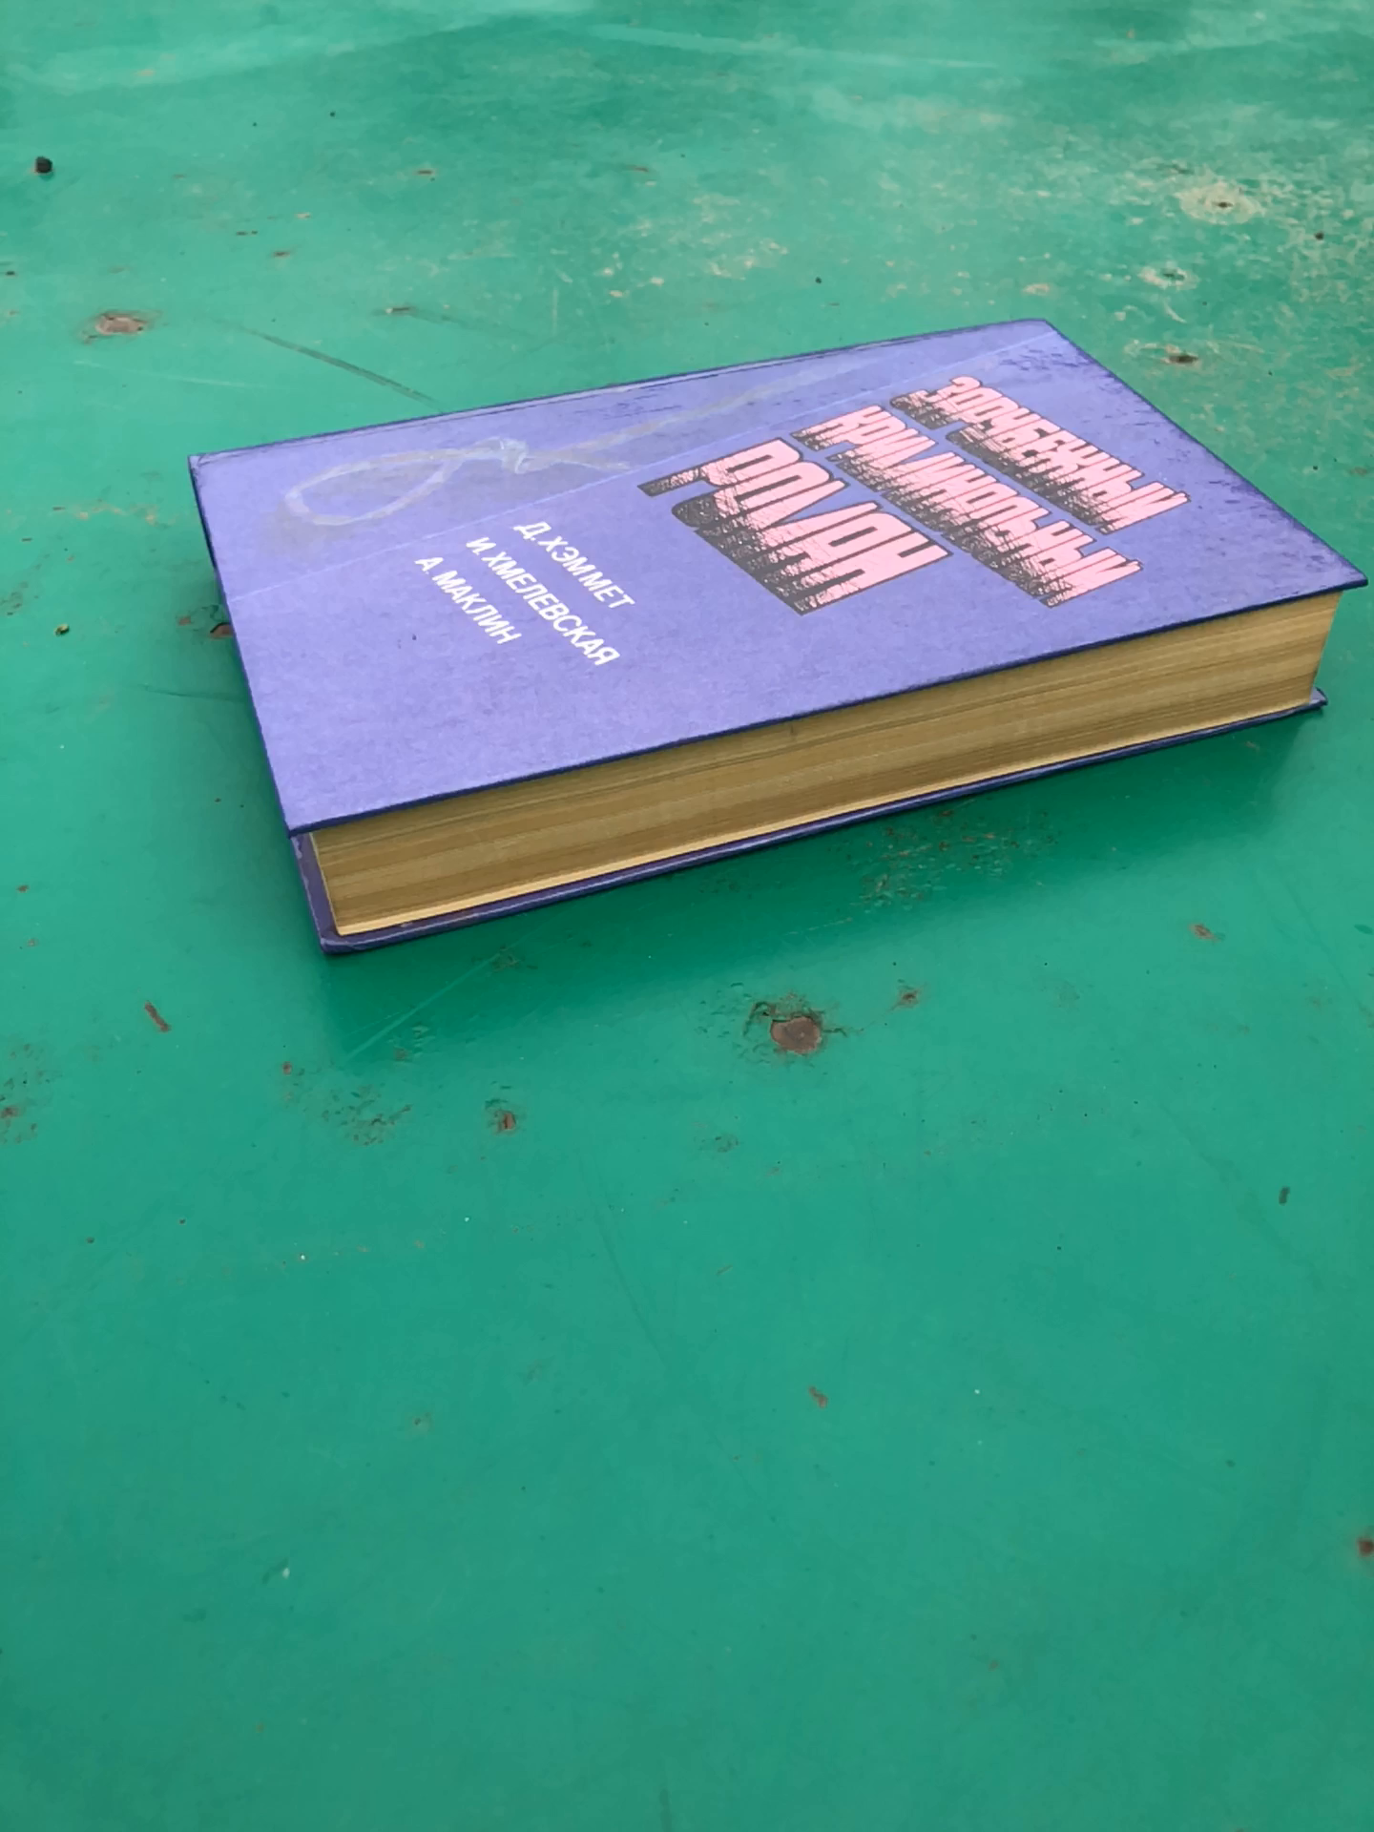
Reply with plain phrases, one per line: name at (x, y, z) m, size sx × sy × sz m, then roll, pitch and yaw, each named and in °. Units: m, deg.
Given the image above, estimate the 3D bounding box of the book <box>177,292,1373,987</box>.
book at (0.012, -0.070, 0.315) m, size 0.208 × 0.030 × 0.137 m, roll -15°, pitch 46°, yaw -13°
